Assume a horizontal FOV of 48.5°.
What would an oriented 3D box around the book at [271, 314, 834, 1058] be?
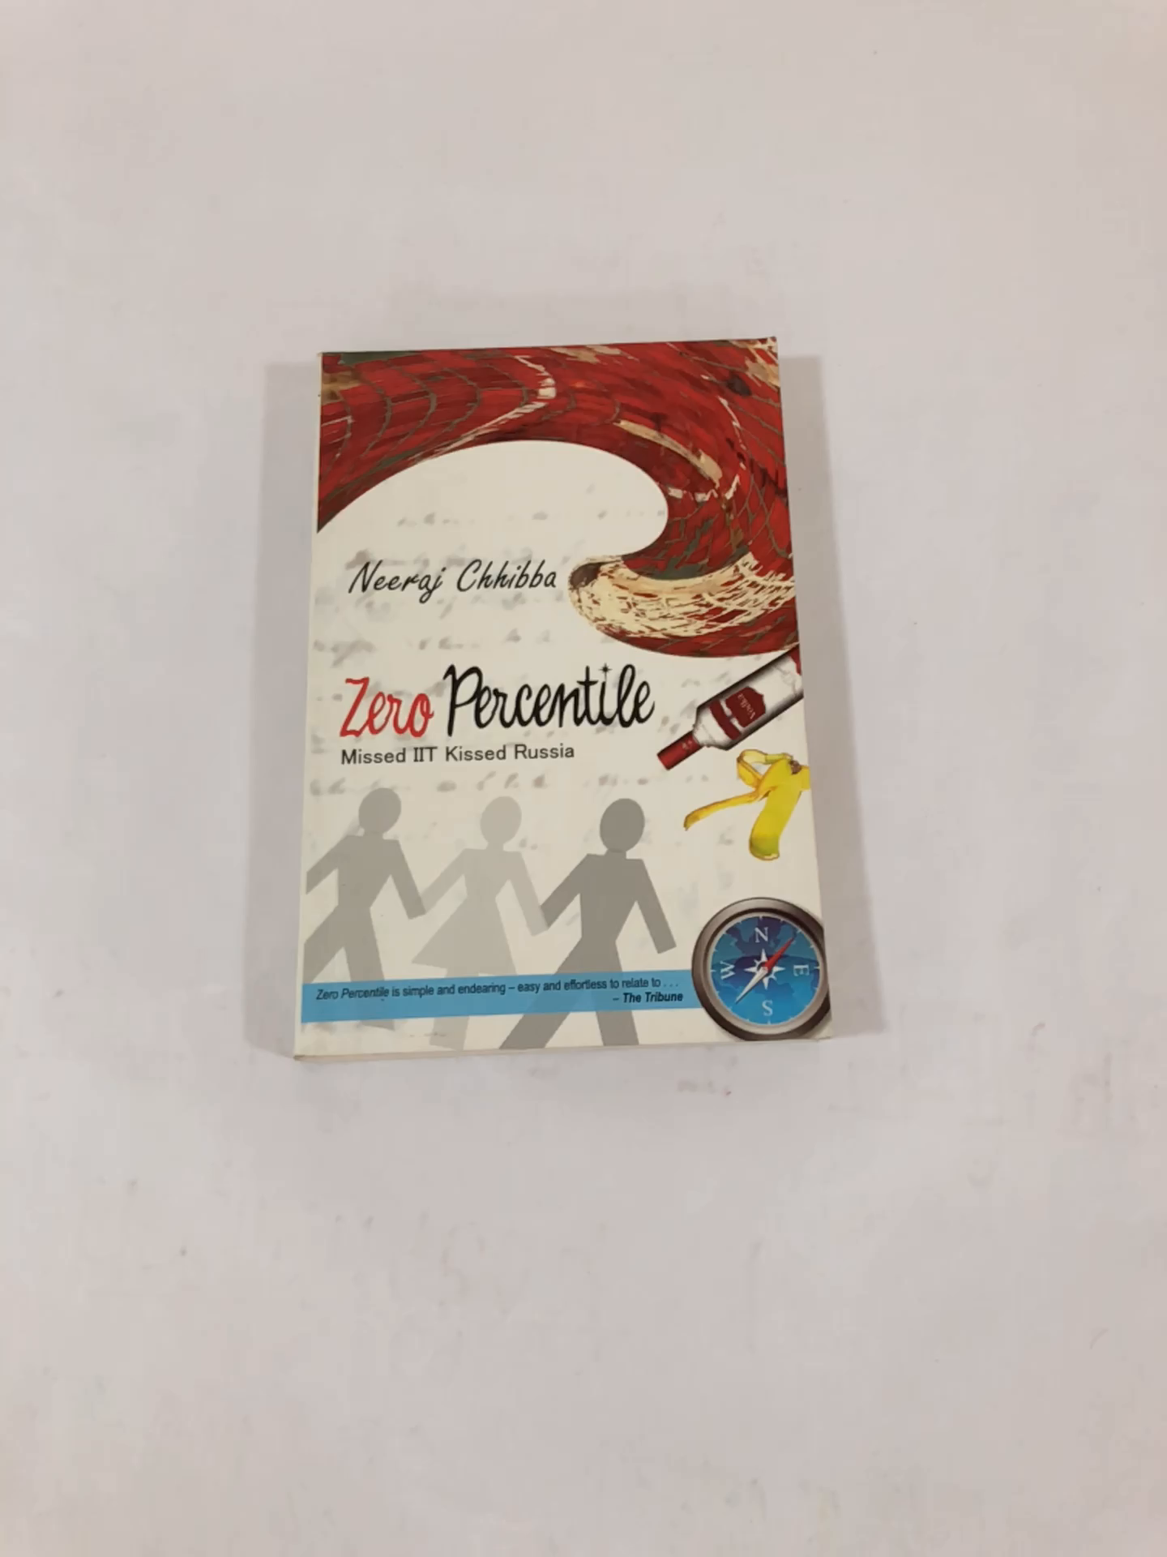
[{"bbox_3d":[-0.009,-0.030,0.343,0.132,0.021,0.200,-1,73,0],"label":"book"}]
